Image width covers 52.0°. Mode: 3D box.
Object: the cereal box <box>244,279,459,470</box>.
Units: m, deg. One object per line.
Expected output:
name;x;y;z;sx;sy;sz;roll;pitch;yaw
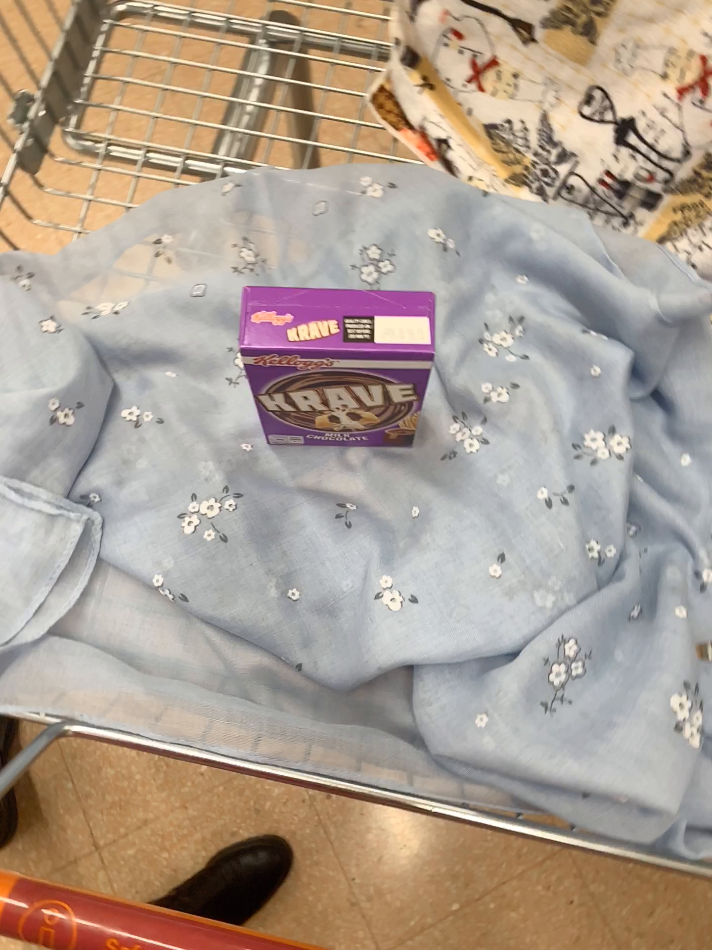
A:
cereal box;-0.002;-0.044;0.373;0.090;0.130;0.040;2;72;0
